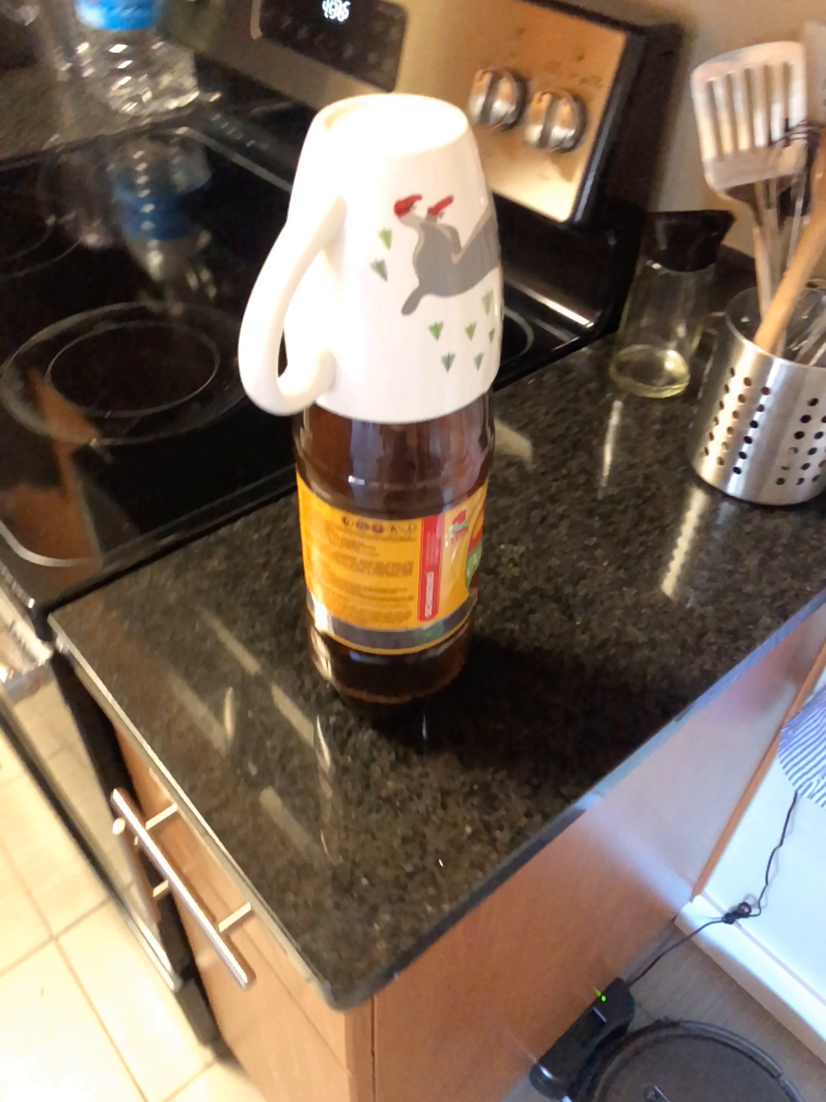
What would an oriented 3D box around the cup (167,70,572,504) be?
[{"bbox_3d":[-0.013,-0.118,0.389,0.100,0.109,0.141,21,46,17],"label":"cup"}]
